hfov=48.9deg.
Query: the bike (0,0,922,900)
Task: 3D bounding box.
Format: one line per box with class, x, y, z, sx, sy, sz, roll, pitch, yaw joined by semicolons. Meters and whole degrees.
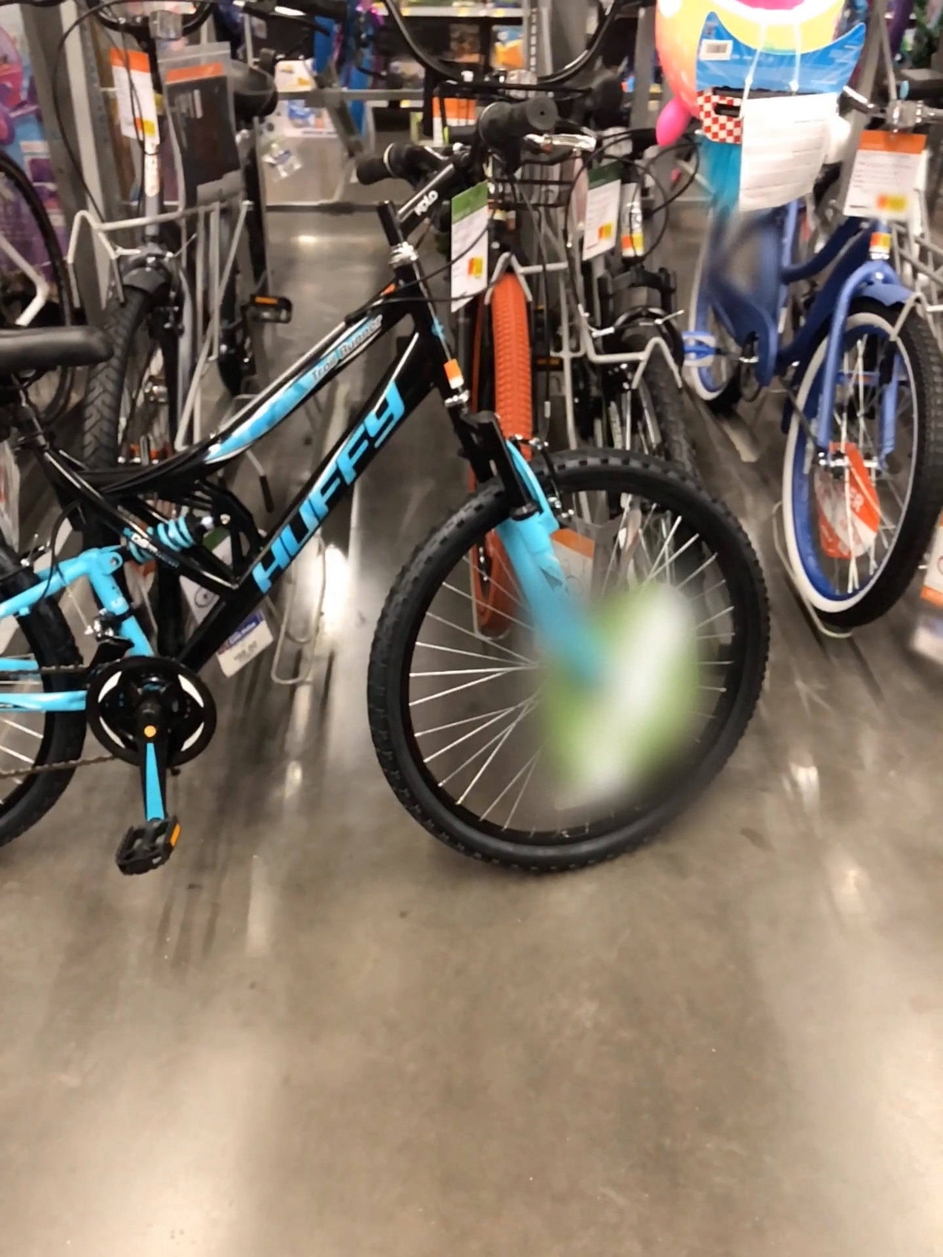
bike;-0.358;-0.275;1.580;1.704;1.120;0.547;-5;36;-5
